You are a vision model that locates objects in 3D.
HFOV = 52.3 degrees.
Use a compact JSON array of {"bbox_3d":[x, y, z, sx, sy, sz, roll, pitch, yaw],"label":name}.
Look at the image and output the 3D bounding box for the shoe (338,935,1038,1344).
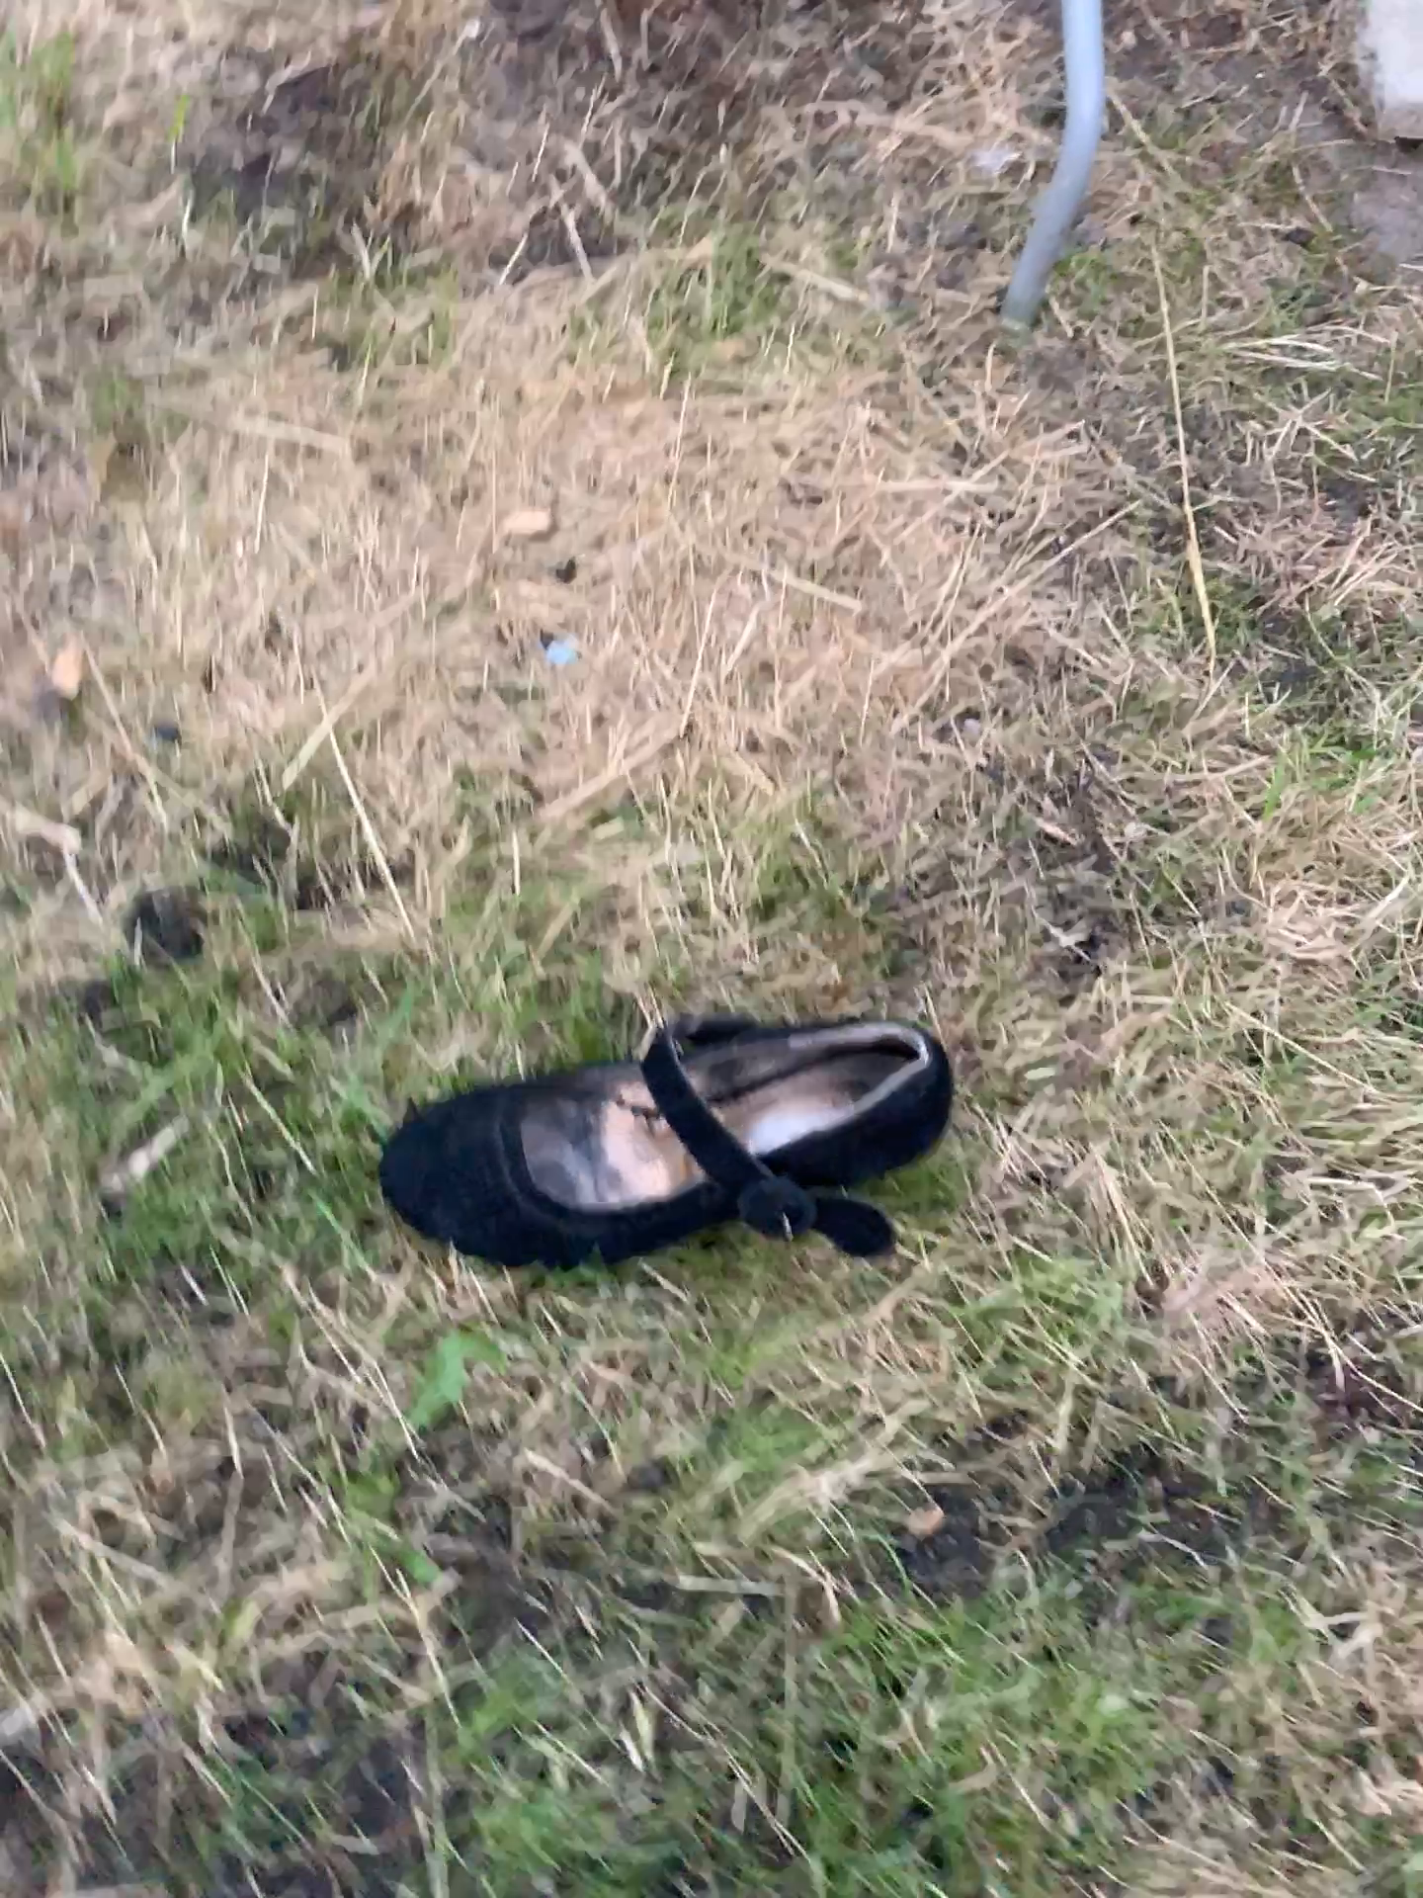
[{"bbox_3d":[-0.015,0.079,0.594,0.250,0.109,0.111,-6,68,-10],"label":"shoe"}]
